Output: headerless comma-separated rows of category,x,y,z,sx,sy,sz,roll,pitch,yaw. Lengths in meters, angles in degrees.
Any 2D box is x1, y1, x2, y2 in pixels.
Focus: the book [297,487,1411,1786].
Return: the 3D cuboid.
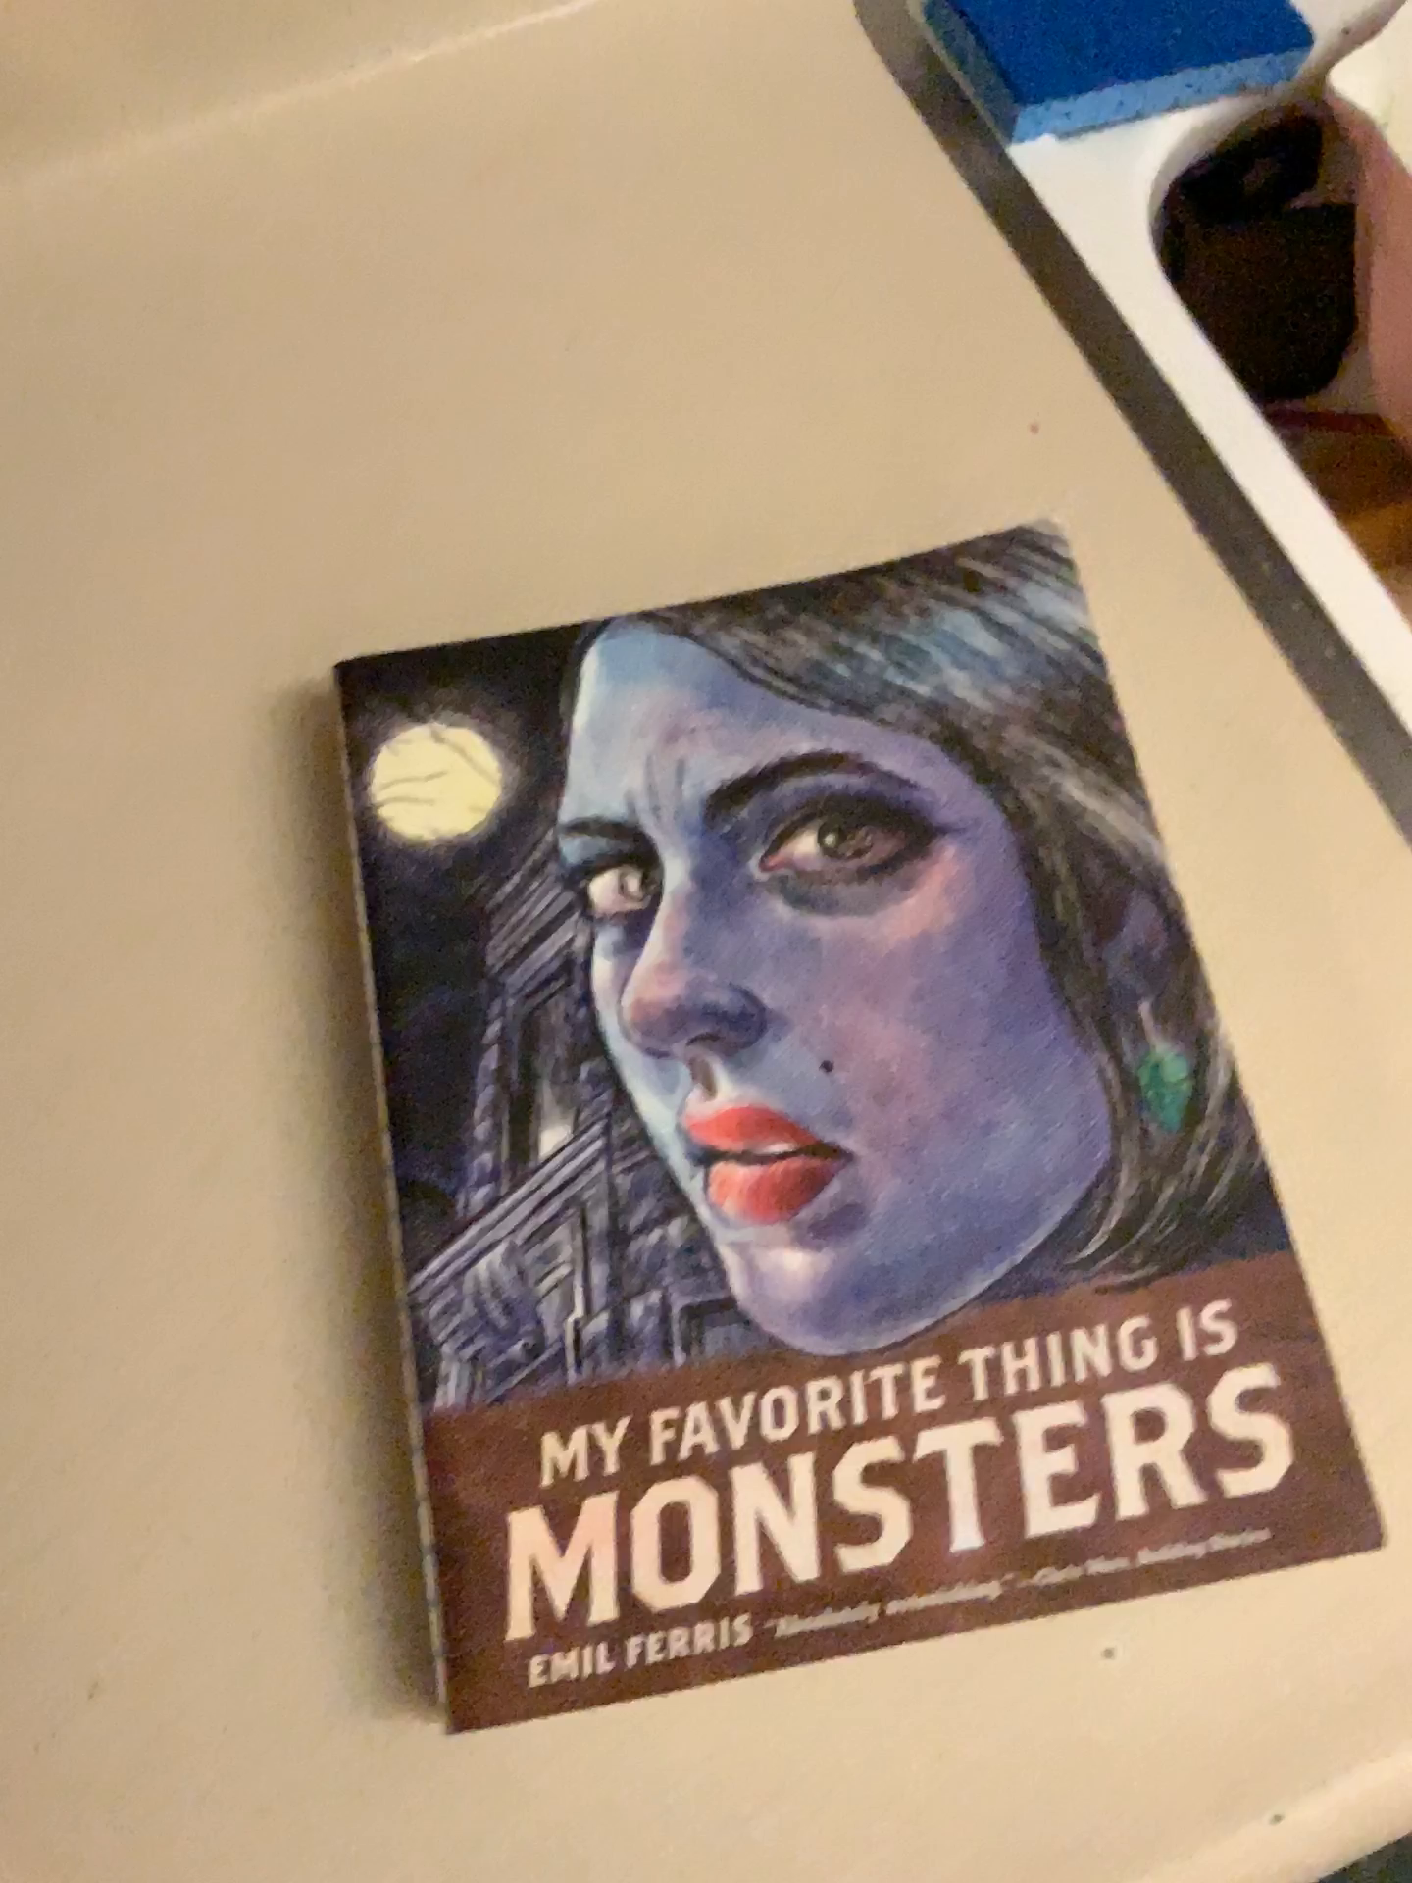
book,0.020,0.029,0.380,0.200,0.040,0.270,-11,68,-3
